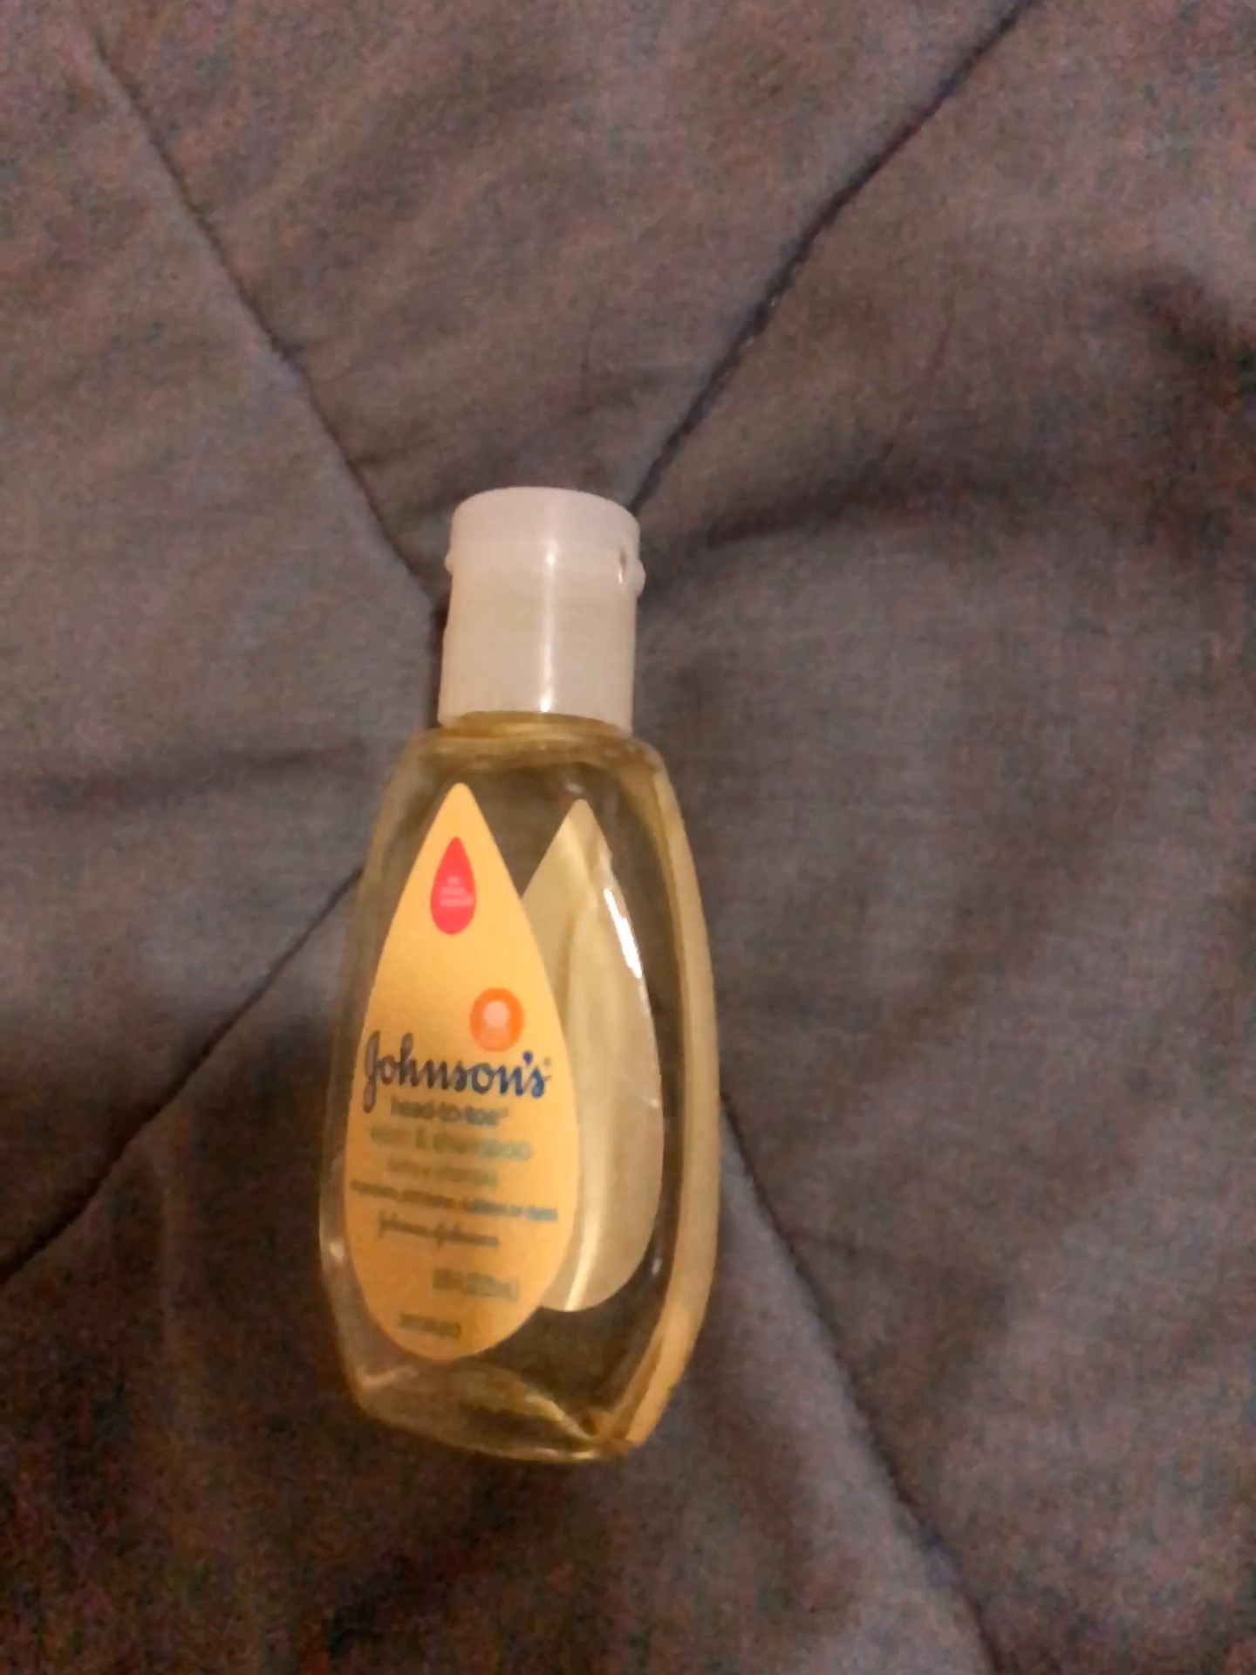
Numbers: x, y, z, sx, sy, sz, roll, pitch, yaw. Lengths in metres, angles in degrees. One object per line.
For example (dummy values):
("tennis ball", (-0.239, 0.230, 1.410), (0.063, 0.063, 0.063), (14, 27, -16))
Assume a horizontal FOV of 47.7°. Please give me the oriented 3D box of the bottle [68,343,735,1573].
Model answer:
("bottle", (-0.020, 0.008, 0.126), (0.050, 0.020, 0.090), (-1, 81, 35))
